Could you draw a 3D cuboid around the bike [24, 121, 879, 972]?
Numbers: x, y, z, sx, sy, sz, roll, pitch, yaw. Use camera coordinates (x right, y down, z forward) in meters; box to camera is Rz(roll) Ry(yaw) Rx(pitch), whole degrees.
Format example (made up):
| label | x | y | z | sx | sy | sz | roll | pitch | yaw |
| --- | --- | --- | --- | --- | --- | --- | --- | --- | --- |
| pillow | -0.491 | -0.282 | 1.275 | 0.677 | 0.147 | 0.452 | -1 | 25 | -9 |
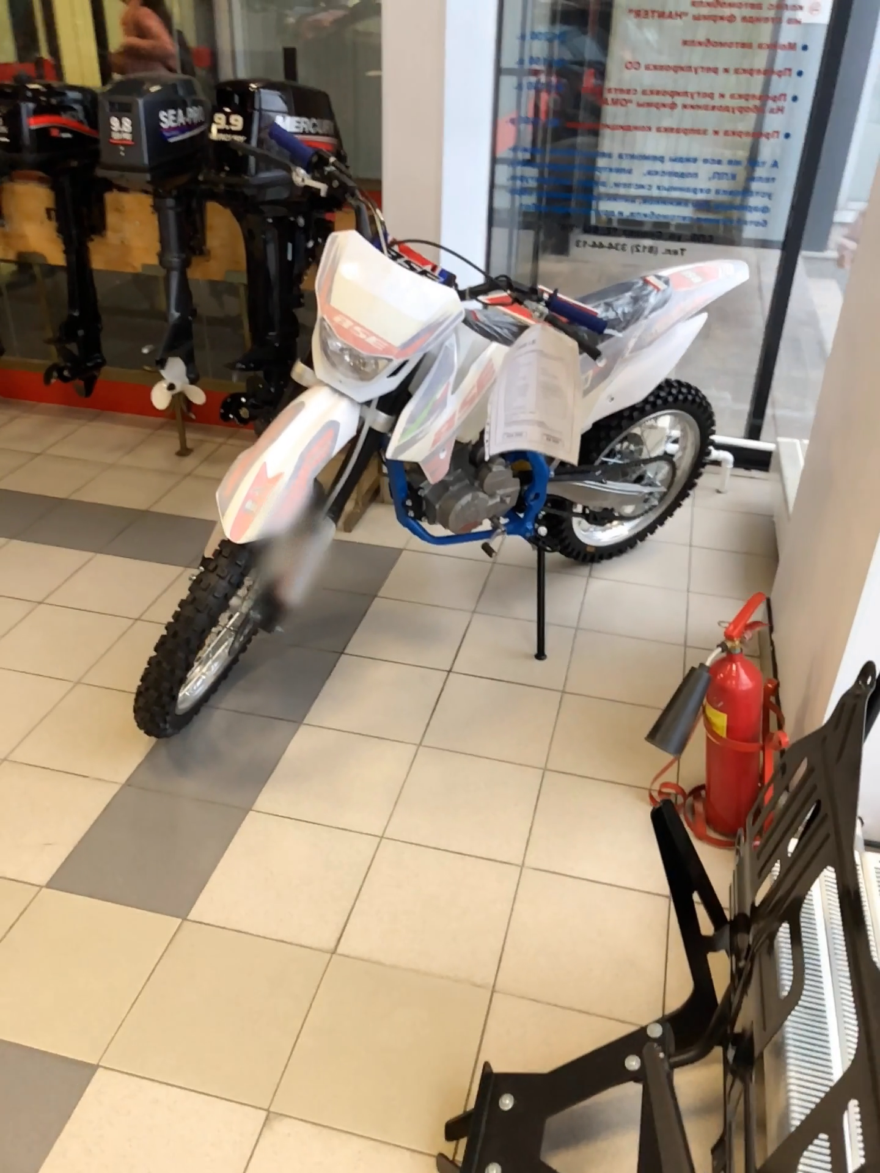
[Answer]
| label | x | y | z | sx | sy | sz | roll | pitch | yaw |
| --- | --- | --- | --- | --- | --- | --- | --- | --- | --- |
| bike | 0.156 | -0.324 | 2.303 | 1.849 | 1.220 | 0.845 | -25 | 40 | -36 |
